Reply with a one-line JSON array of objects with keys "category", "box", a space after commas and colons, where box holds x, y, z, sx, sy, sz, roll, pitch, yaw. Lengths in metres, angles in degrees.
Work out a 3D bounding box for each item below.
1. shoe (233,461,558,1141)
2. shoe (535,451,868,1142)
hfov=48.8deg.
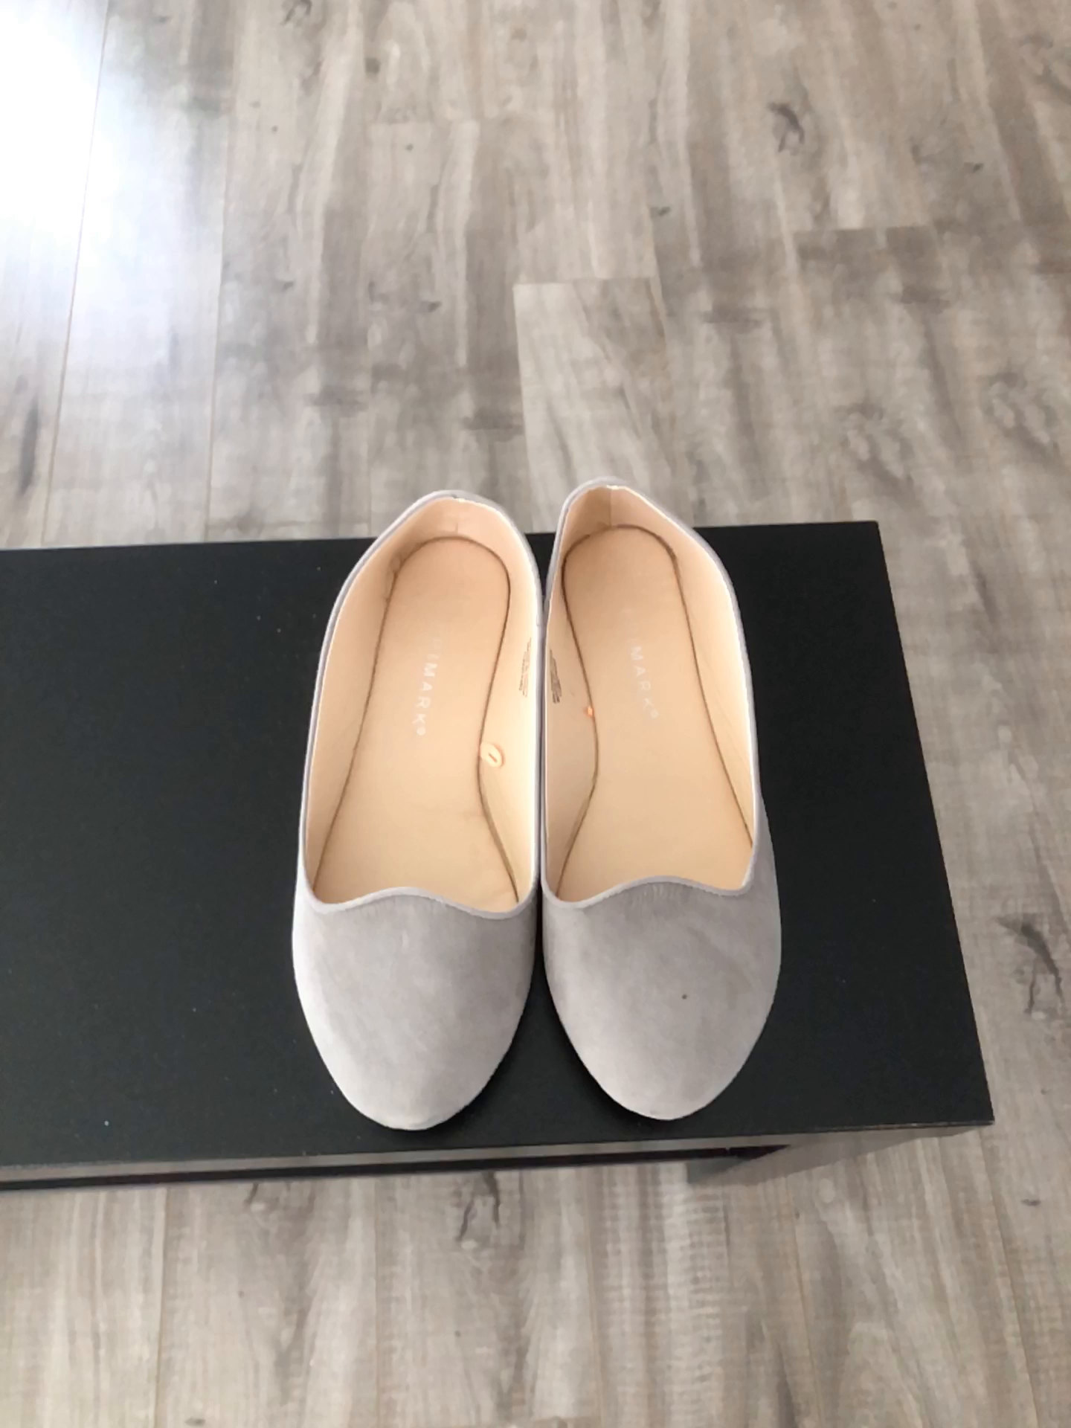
[{"category": "shoe", "box": [-0.045, 0.025, 0.445, 0.100, 0.060, 0.250, 0, 65, -1]}, {"category": "shoe", "box": [0.052, 0.023, 0.447, 0.100, 0.060, 0.256, 0, 65, -1]}]
